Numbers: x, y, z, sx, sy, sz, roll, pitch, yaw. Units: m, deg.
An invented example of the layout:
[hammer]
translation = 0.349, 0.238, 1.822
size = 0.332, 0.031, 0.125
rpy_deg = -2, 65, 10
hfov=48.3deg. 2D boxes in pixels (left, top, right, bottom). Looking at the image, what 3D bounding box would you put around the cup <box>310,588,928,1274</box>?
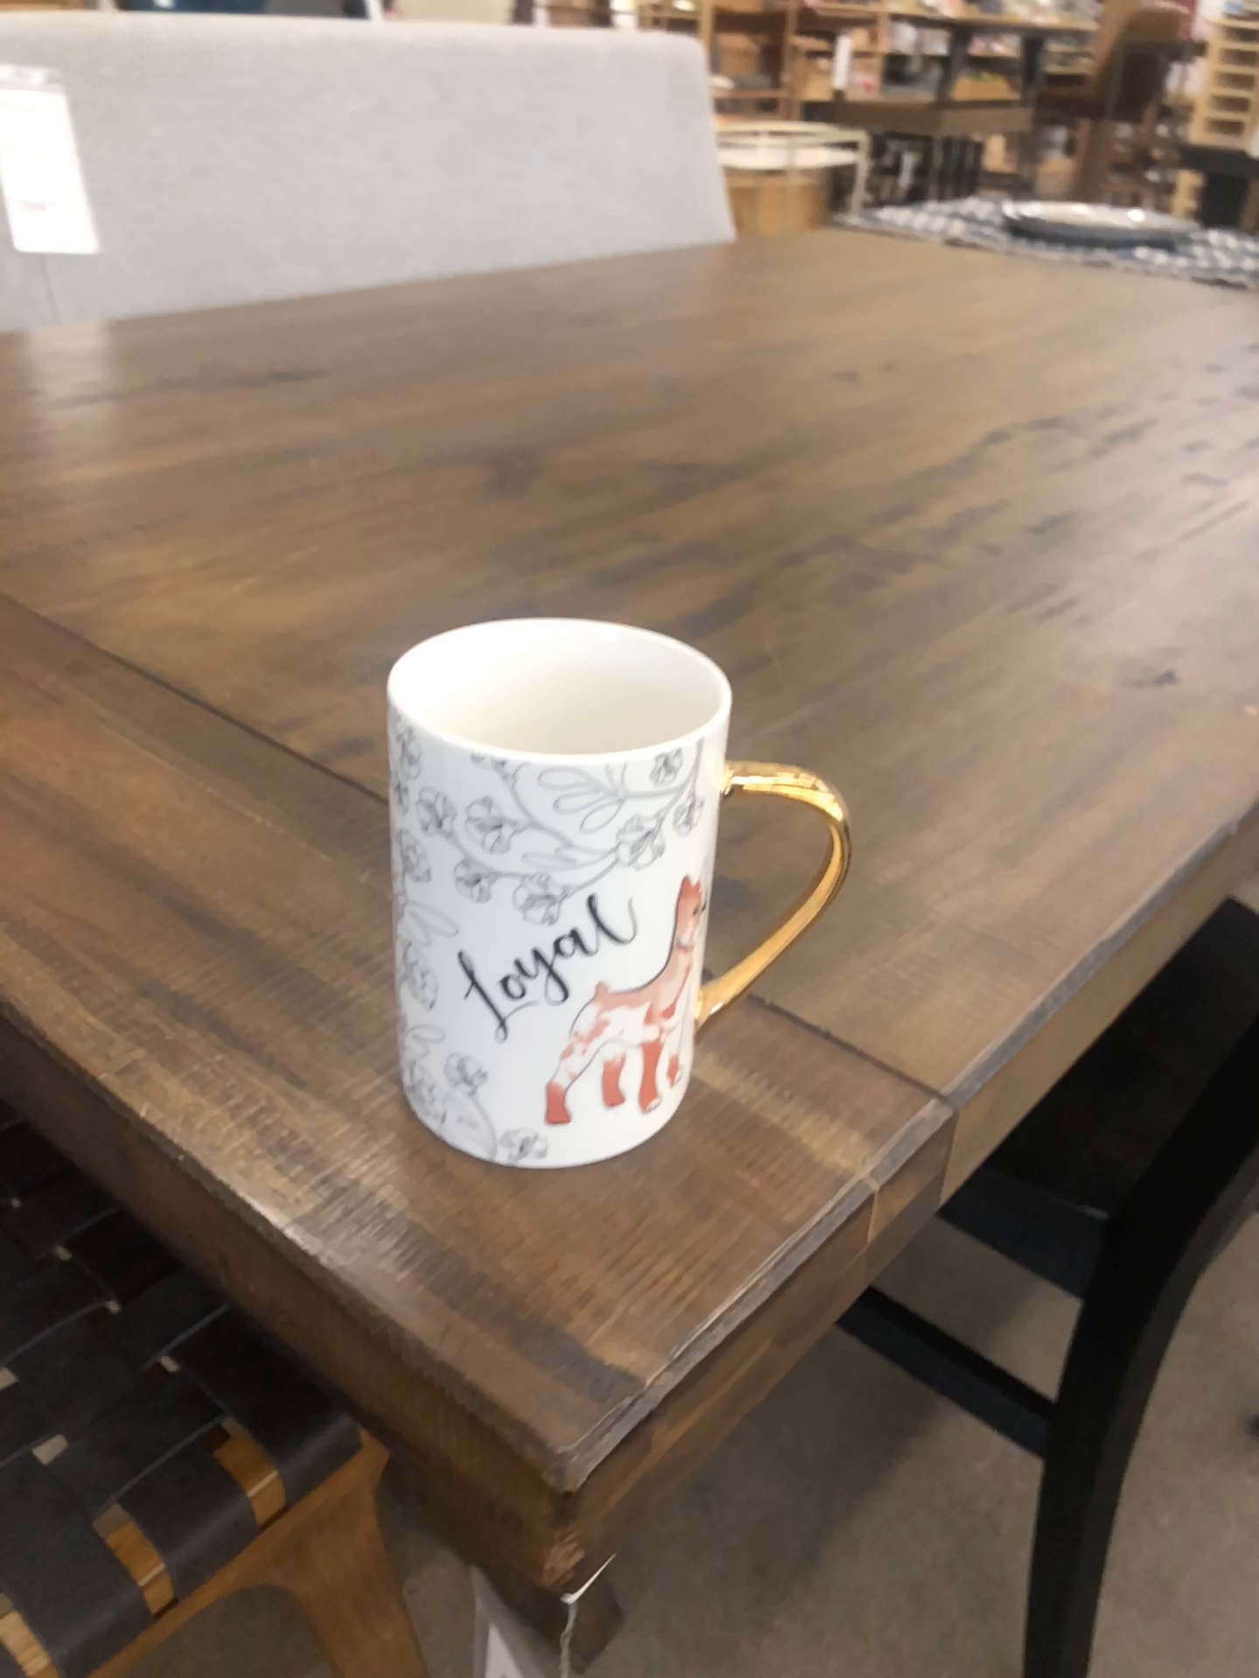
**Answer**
[cup]
translation = 0.001, 0.017, 0.336
size = 0.119, 0.115, 0.098
rpy_deg = 7, 29, 6
